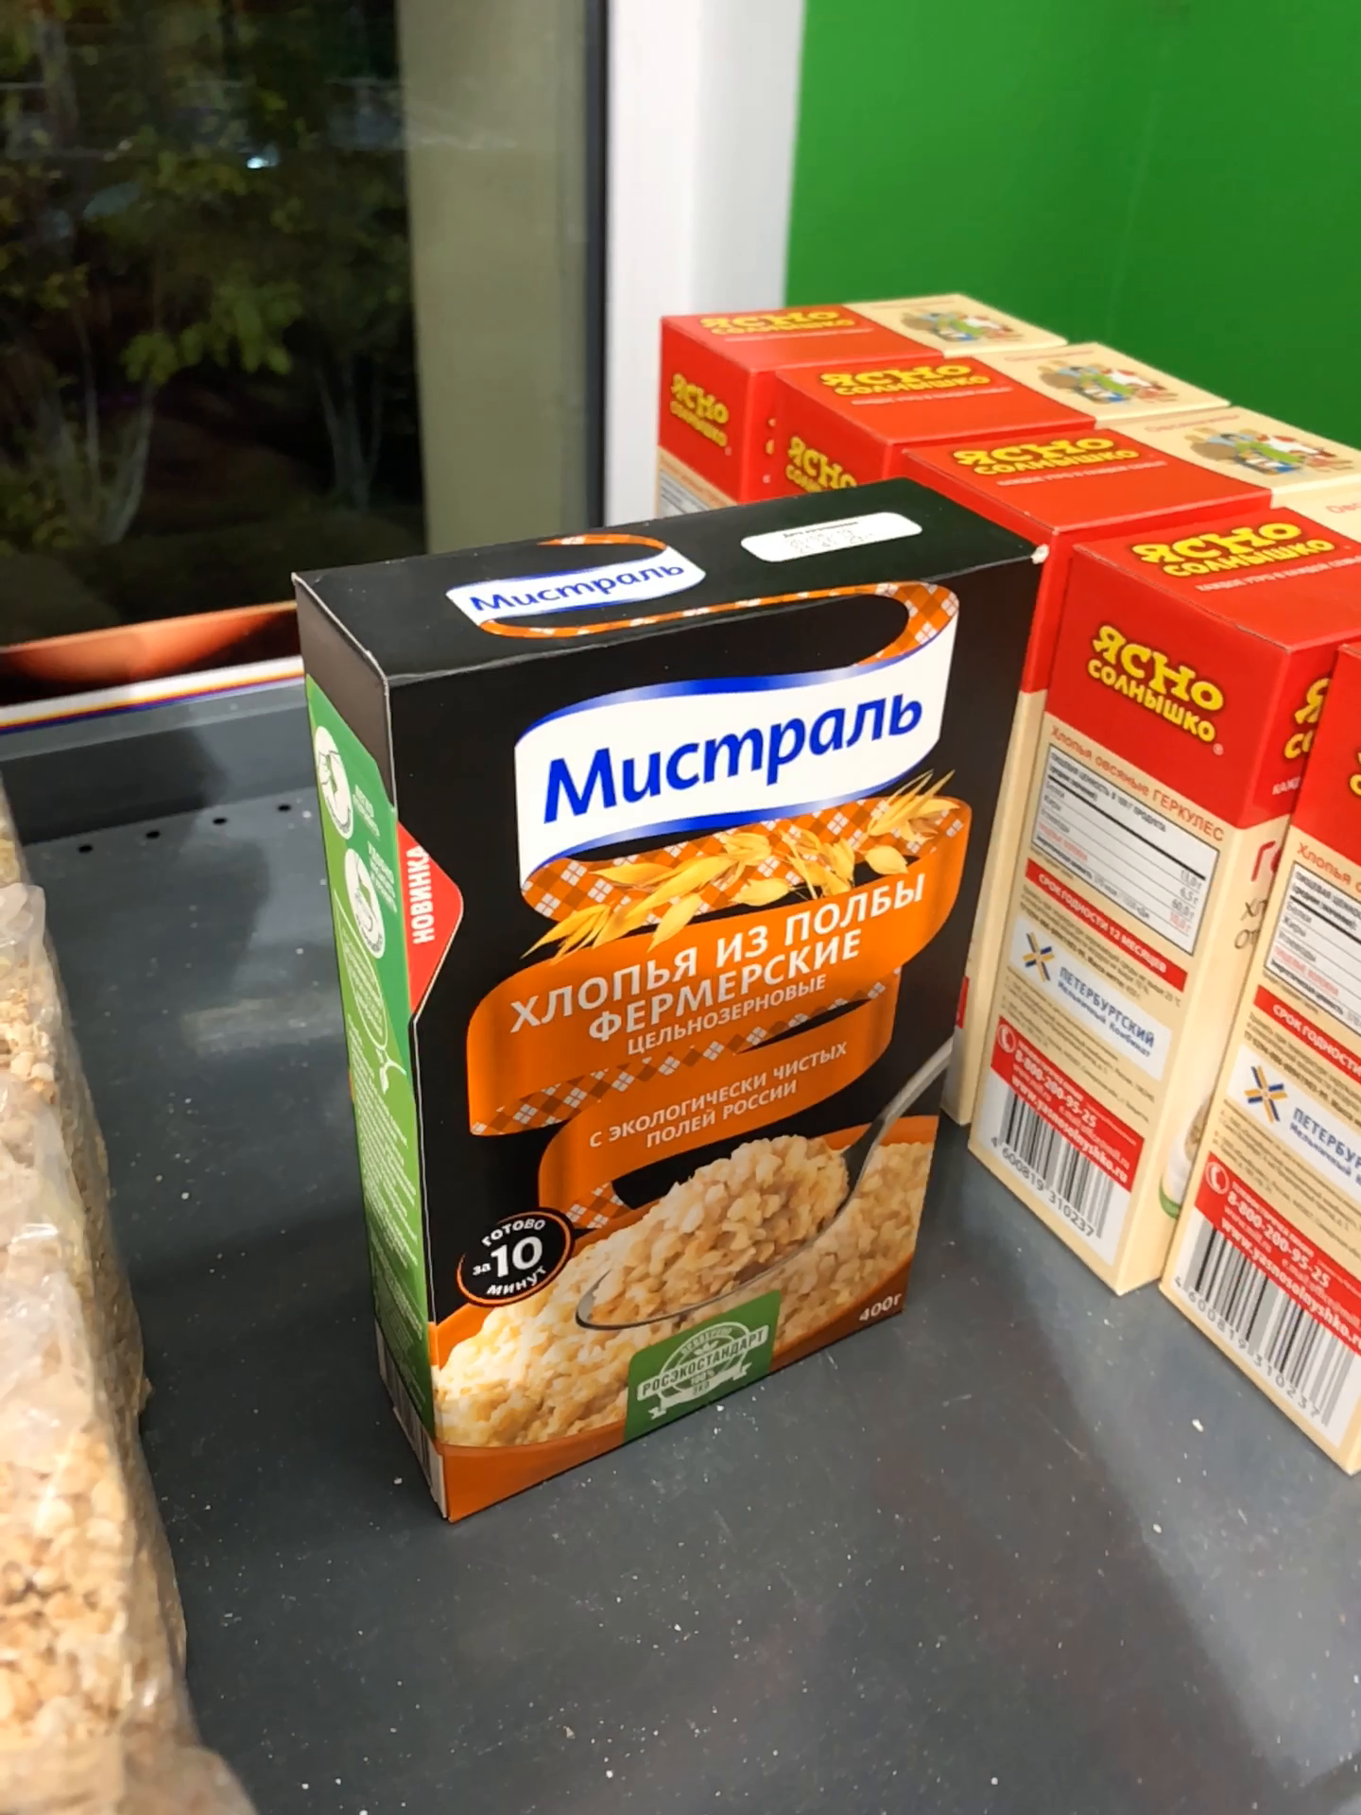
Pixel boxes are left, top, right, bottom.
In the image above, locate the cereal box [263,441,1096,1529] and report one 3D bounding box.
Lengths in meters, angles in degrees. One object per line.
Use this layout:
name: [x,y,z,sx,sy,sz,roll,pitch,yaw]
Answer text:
cereal box: [-0.001,0.020,0.323,0.140,0.209,0.050,-17,39,-26]
